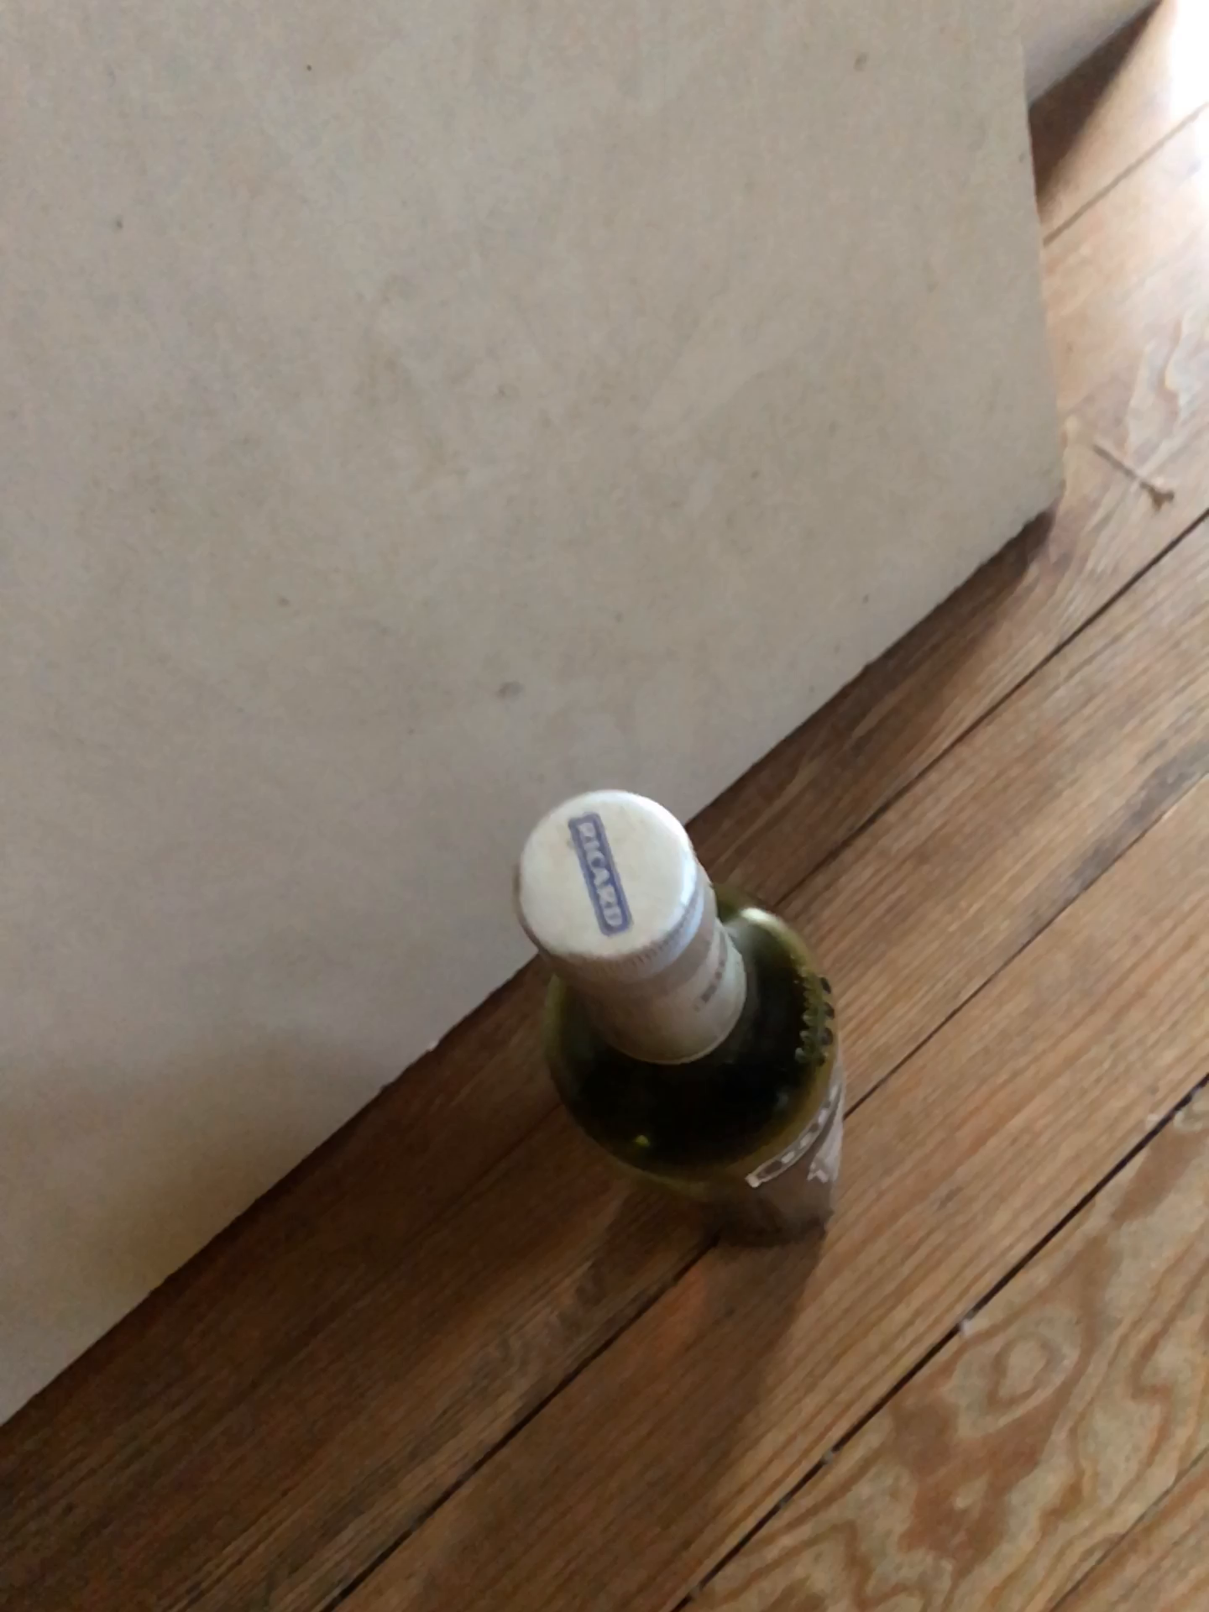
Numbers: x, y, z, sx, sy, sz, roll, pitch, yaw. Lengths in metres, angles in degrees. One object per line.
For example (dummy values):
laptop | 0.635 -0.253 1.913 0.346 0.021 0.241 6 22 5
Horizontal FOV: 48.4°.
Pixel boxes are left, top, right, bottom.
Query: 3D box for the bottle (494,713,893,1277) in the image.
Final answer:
bottle | 0.036 0.069 0.332 0.060 0.259 0.070 -3 66 10
